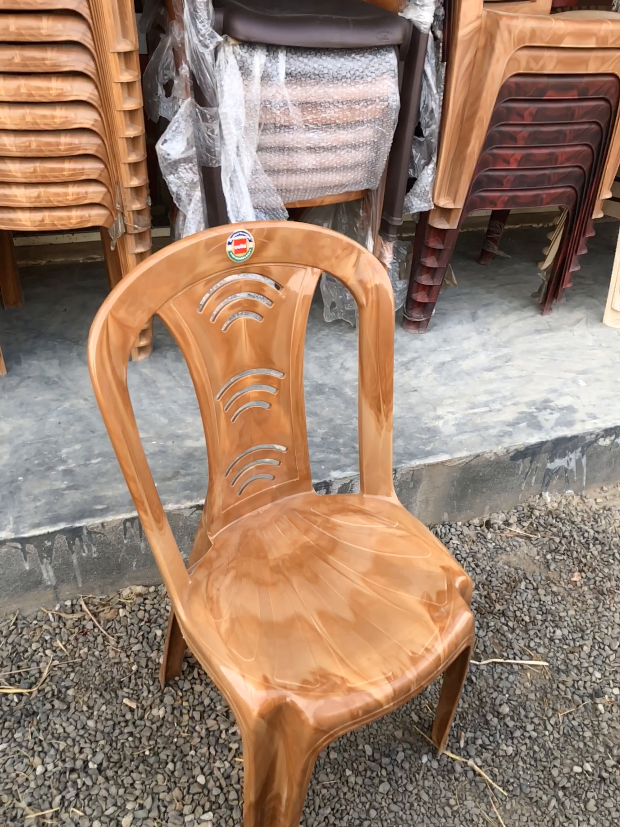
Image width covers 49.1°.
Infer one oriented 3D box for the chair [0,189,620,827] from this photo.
[{"bbox_3d":[-0.039,0.181,0.993,0.542,0.766,0.581,-22,43,-32],"label":"chair"}]
